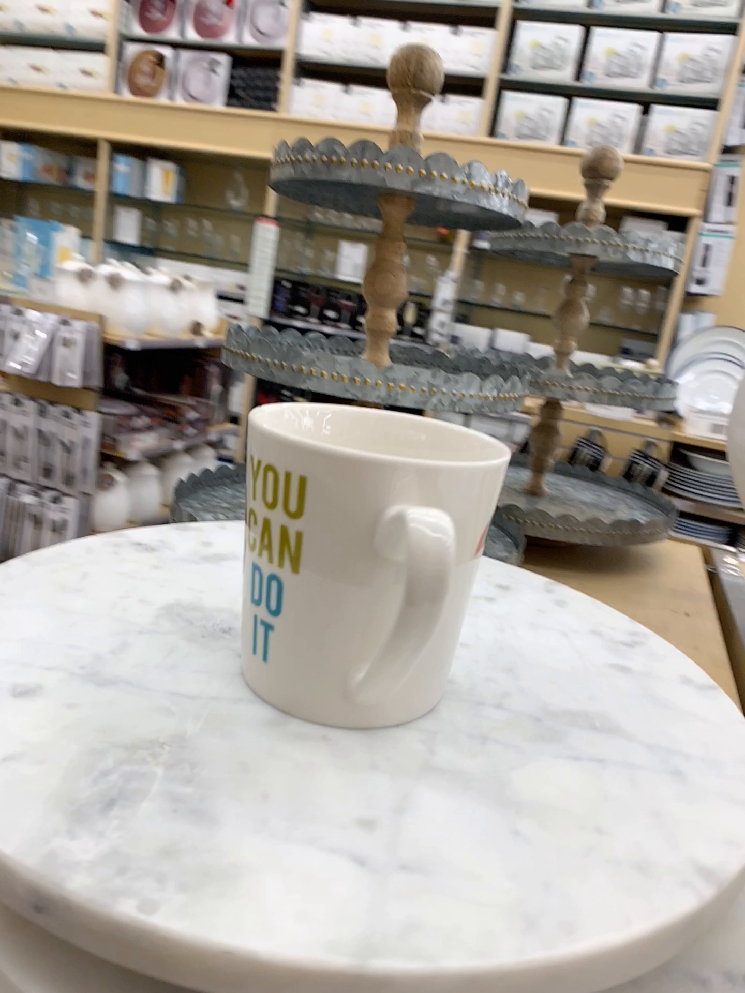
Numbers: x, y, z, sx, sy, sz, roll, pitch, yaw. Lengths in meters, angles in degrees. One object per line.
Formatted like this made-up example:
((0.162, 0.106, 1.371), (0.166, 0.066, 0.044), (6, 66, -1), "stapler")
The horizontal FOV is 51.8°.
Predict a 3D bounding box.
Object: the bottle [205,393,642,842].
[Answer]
((0.002, 0.032, 0.293), (0.104, 0.107, 0.143), (4, 16, -20), "bottle")
